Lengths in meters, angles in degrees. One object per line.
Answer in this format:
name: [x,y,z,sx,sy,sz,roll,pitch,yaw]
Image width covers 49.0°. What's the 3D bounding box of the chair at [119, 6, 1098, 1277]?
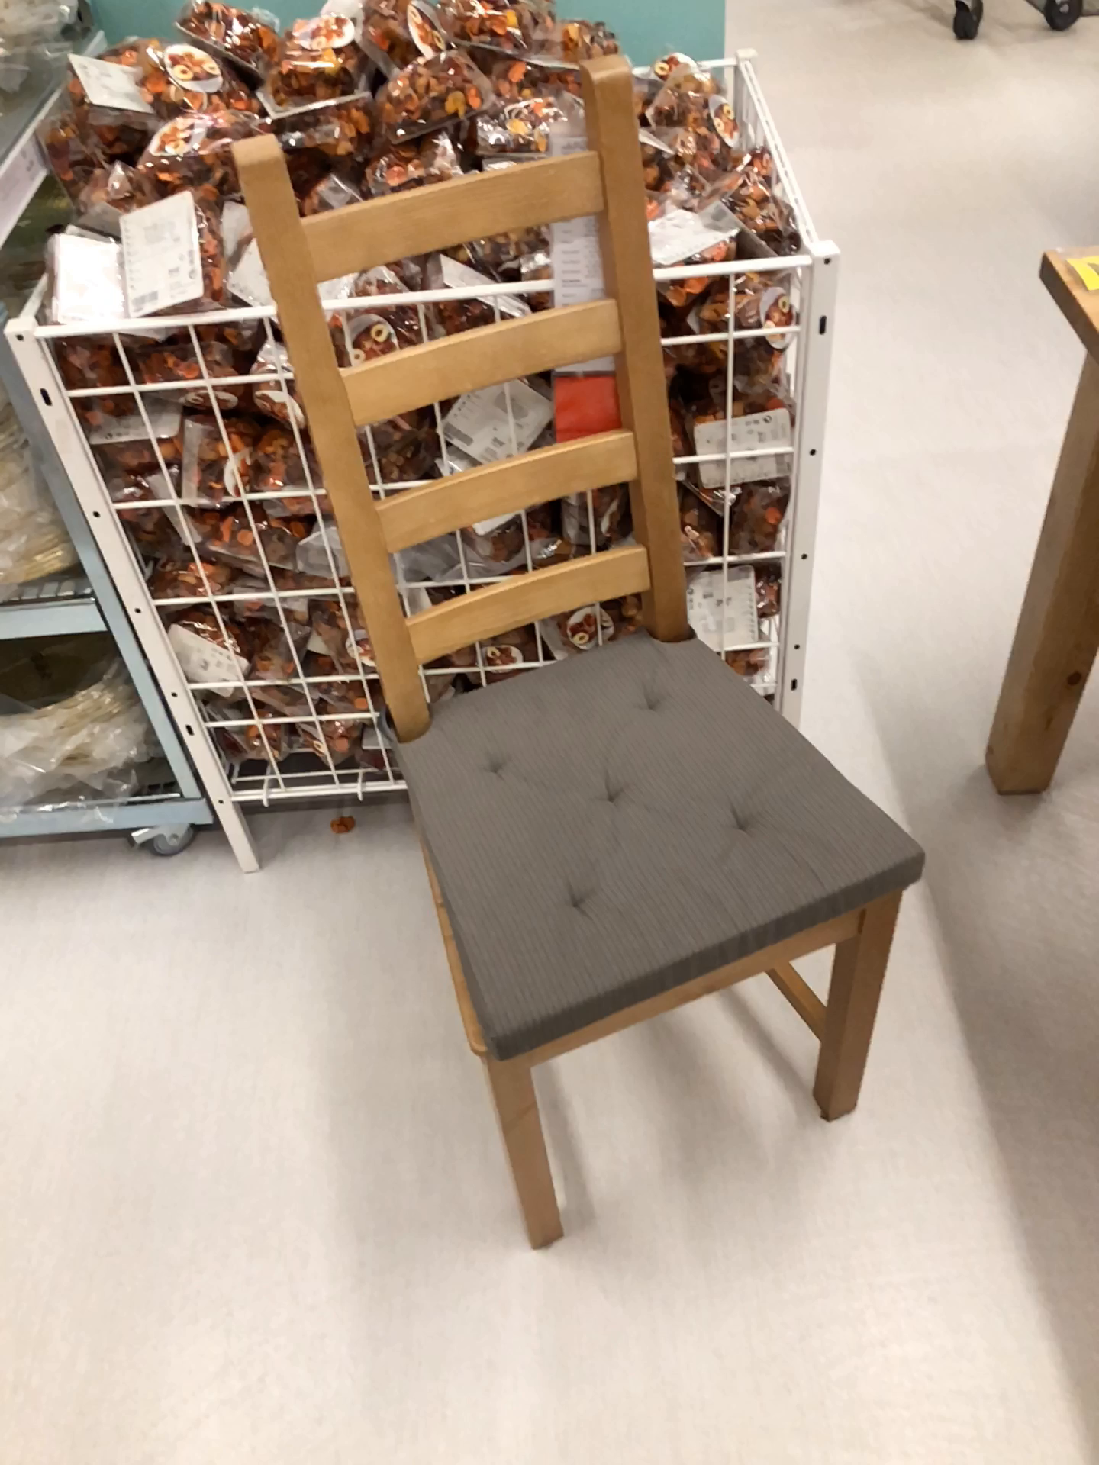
chair: [0.030,-0.015,1.042,0.430,0.914,0.473,-20,47,-12]
